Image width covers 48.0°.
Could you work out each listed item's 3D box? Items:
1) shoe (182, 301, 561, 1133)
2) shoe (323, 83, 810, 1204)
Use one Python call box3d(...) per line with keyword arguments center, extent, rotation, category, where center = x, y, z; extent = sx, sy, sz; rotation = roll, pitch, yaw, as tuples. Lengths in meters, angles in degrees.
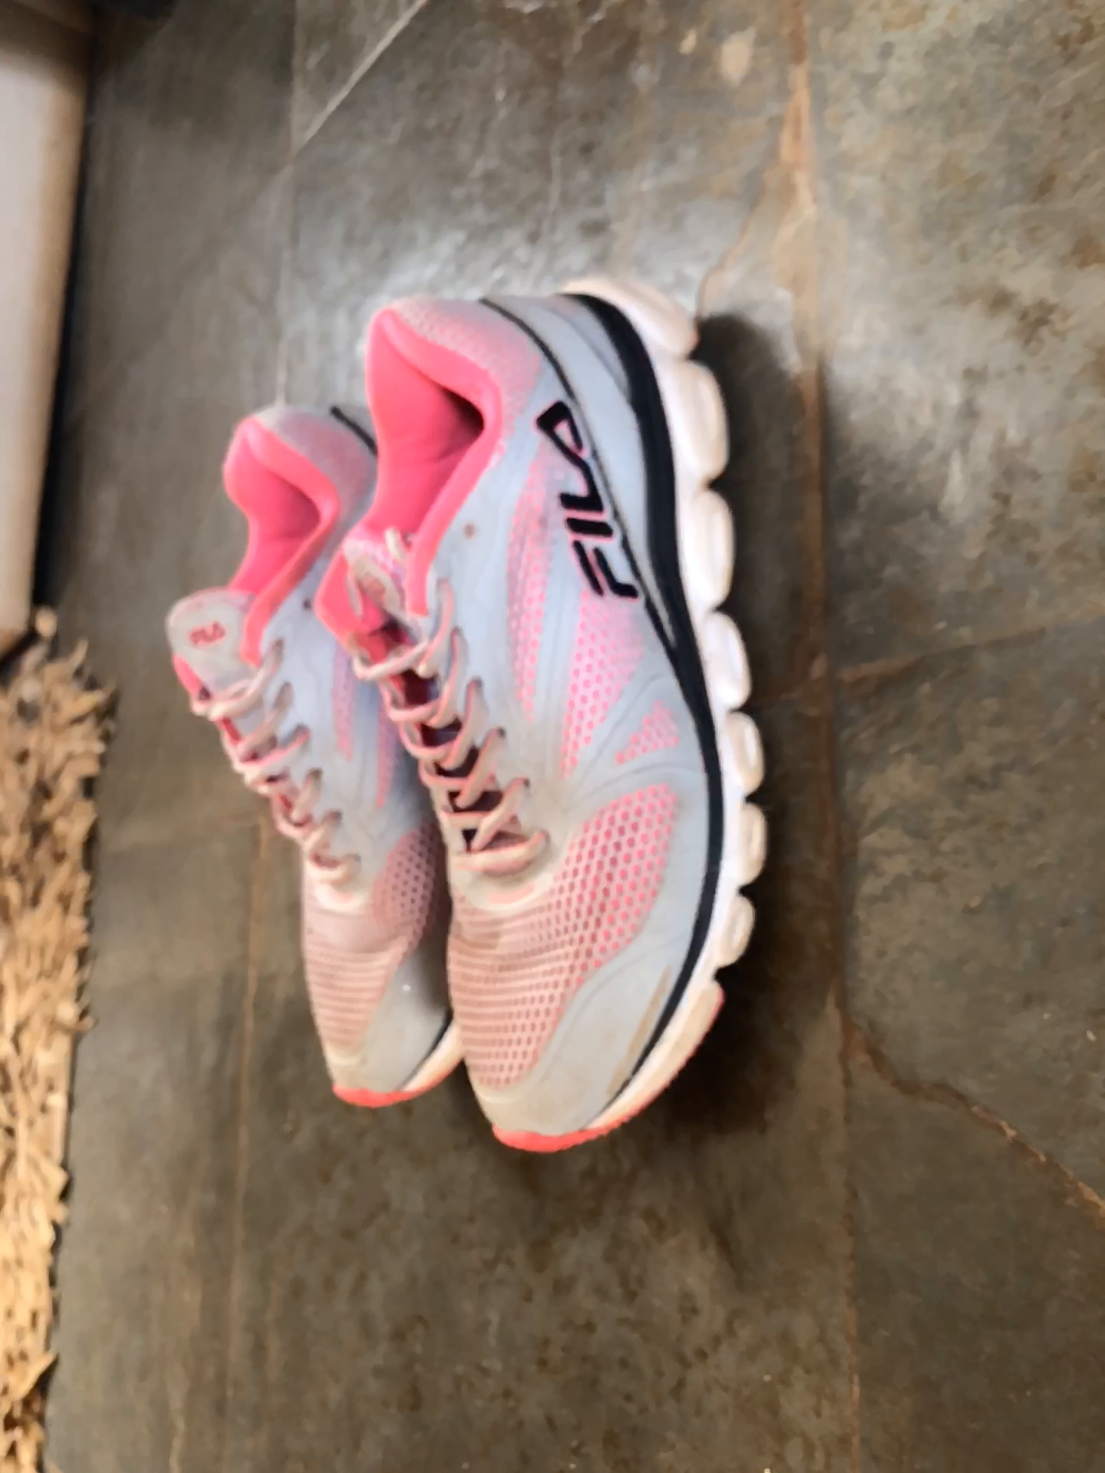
box3d(center=(-0.073, -0.003, 0.485), extent=(0.110, 0.100, 0.280), rotation=(-13, 75, 53), category="shoe")
box3d(center=(0.002, -0.023, 0.390), extent=(0.110, 0.100, 0.290), rotation=(-9, 79, 53), category="shoe")
